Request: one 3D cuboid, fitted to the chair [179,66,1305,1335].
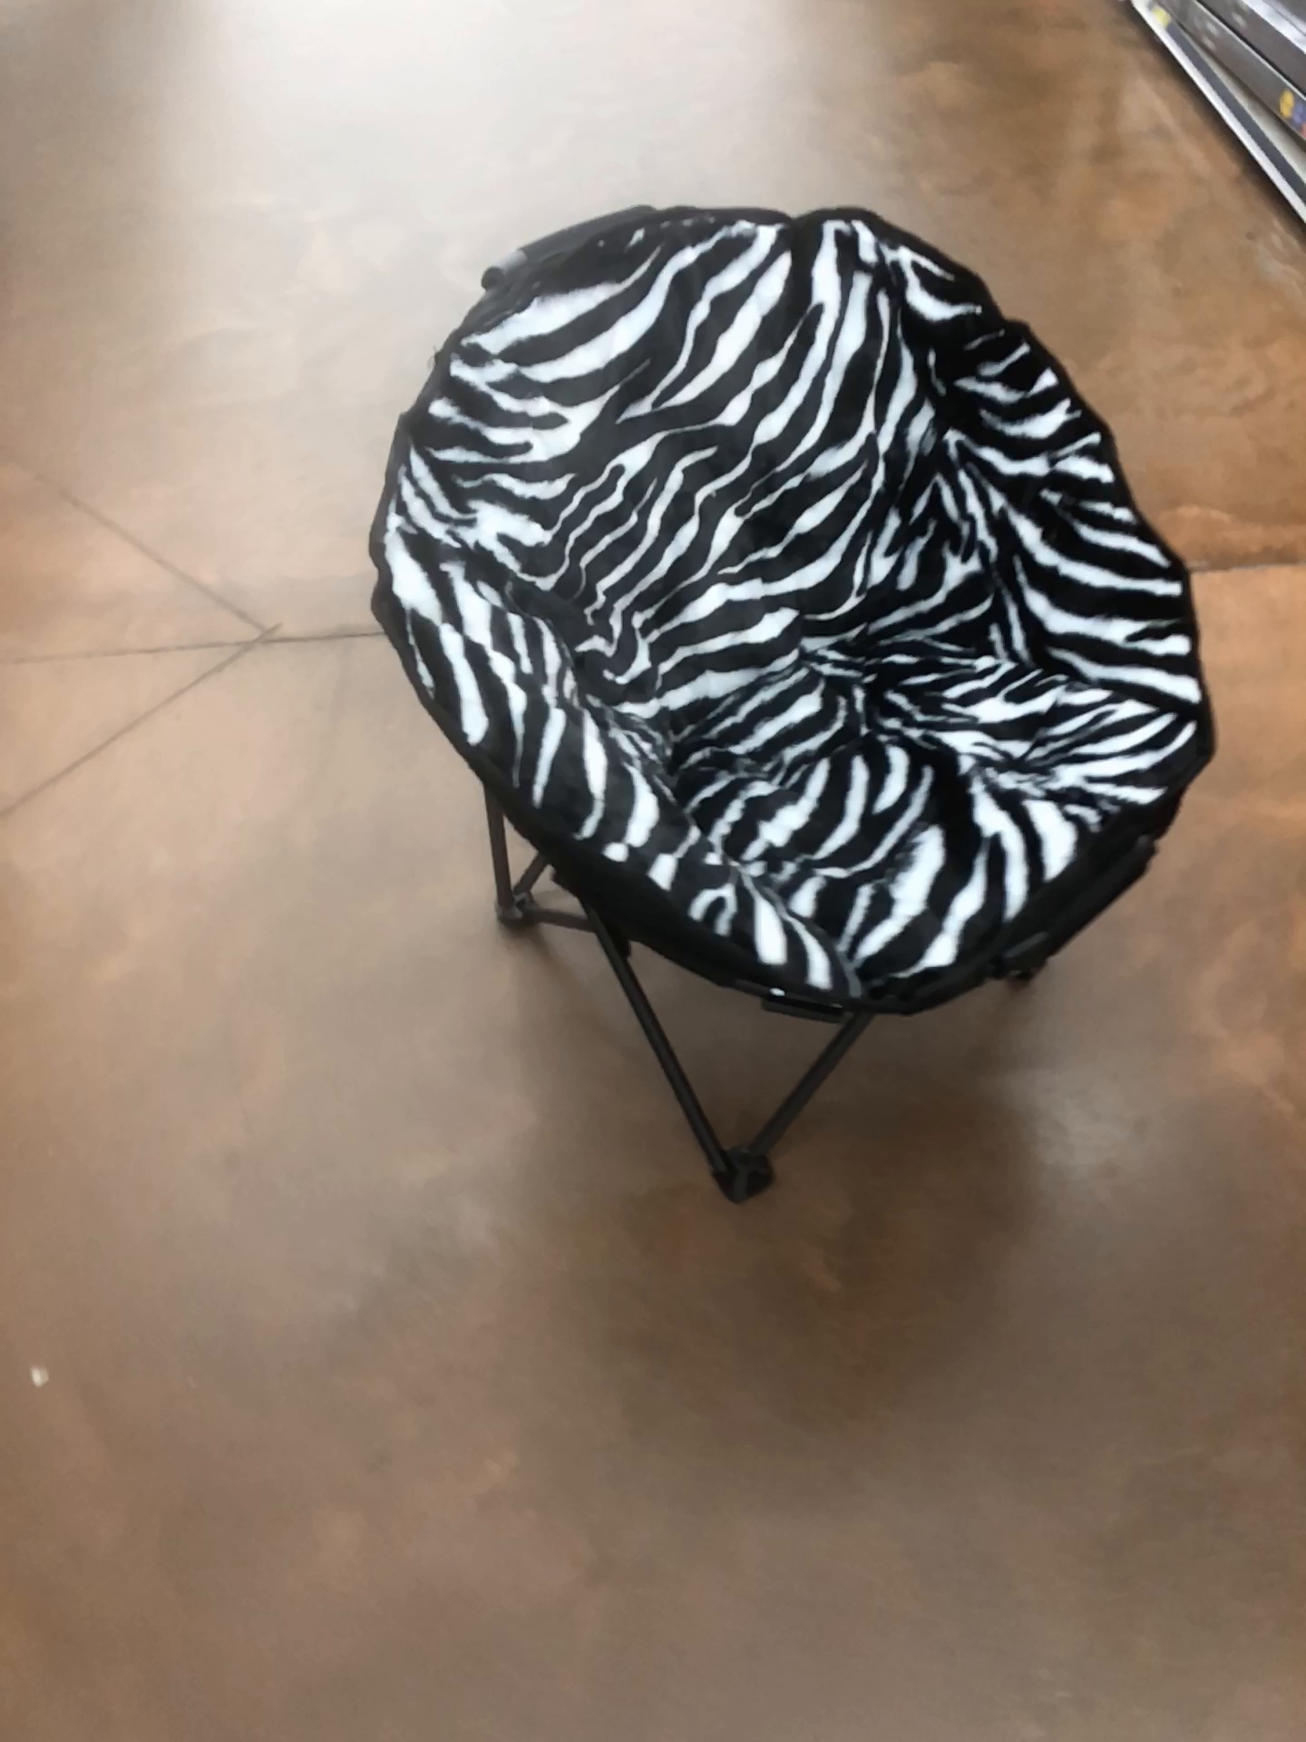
[{"bbox_3d":[0.113,-0.157,1.166,0.610,0.598,0.601,-33,57,-24],"label":"chair"}]
